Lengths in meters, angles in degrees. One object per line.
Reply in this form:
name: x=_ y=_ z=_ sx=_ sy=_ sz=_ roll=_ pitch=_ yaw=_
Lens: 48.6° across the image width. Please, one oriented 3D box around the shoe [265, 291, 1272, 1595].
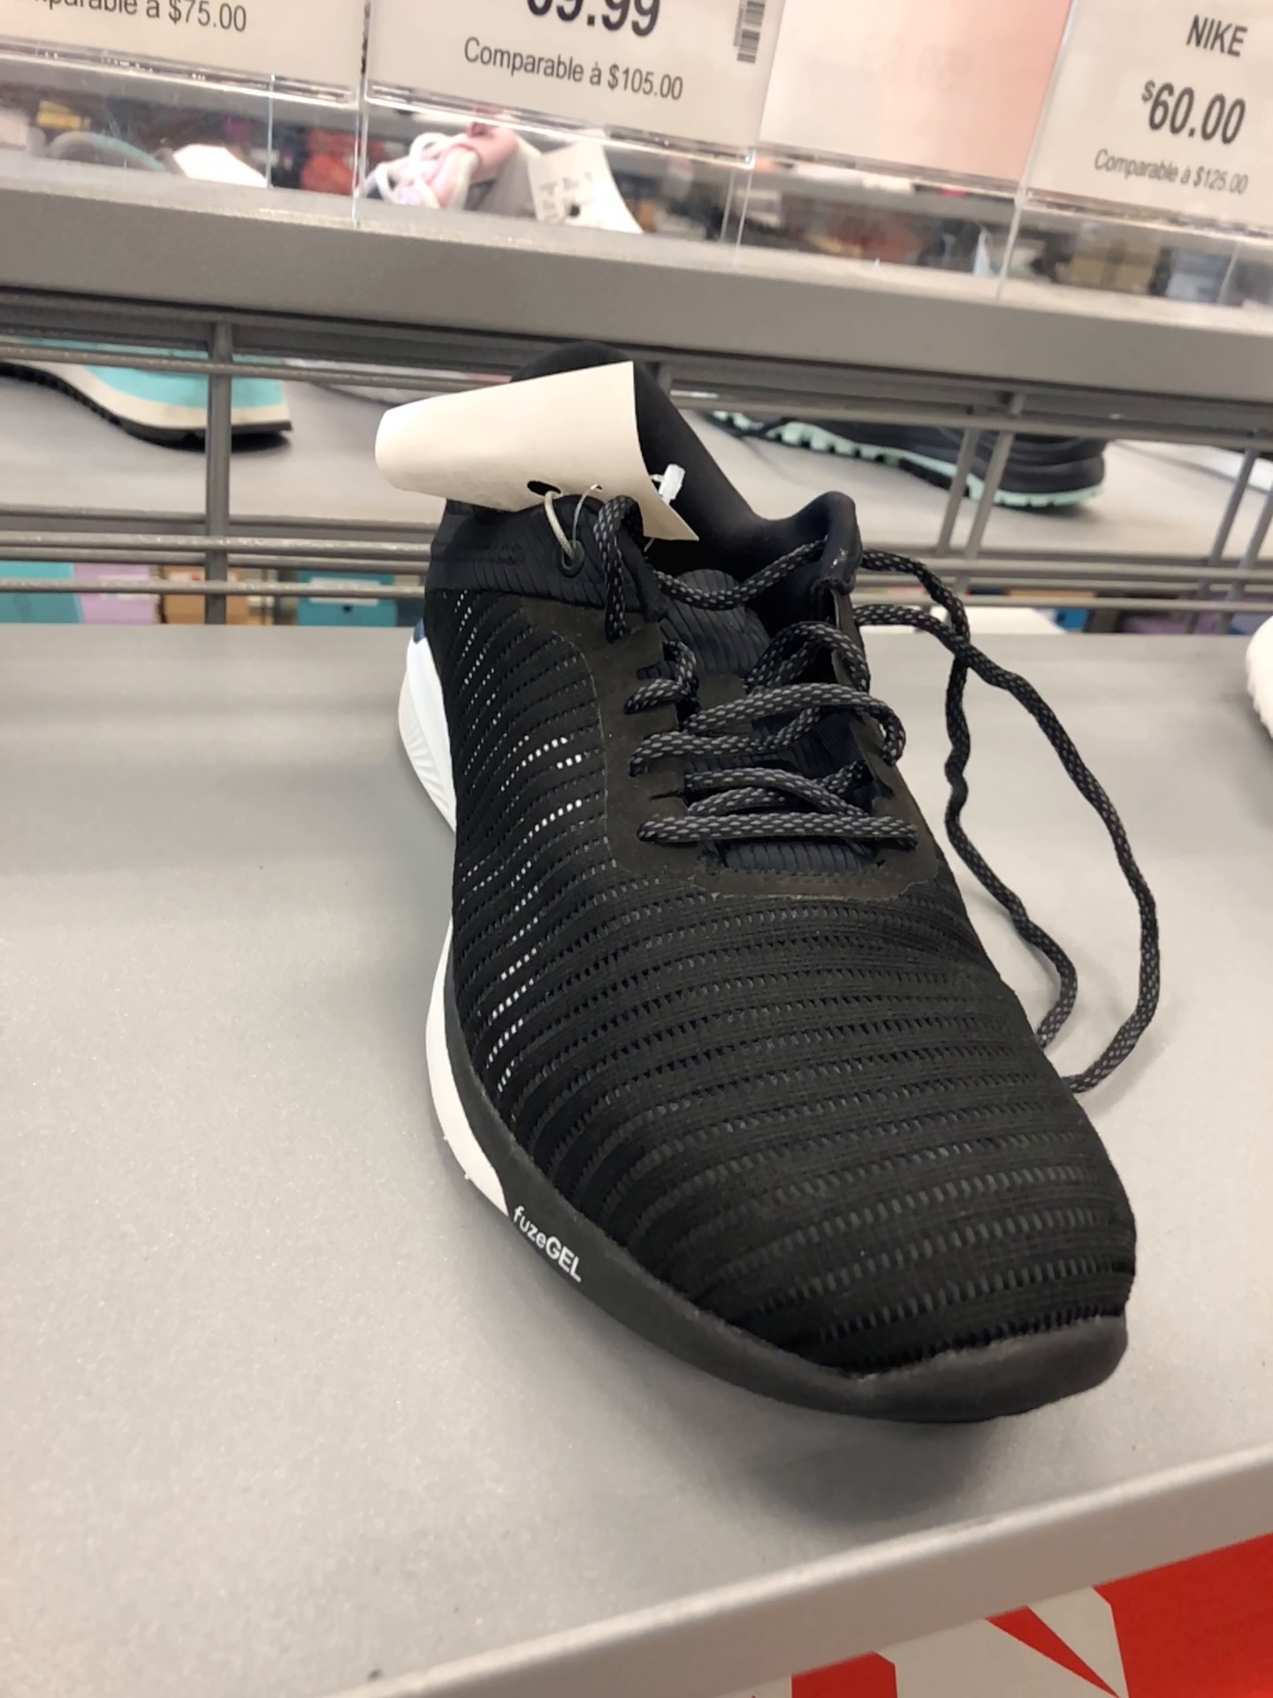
shoe: x=0.002 y=-0.025 z=0.314 sx=0.120 sy=0.119 sz=0.302 roll=-3 pitch=32 yaw=-22
